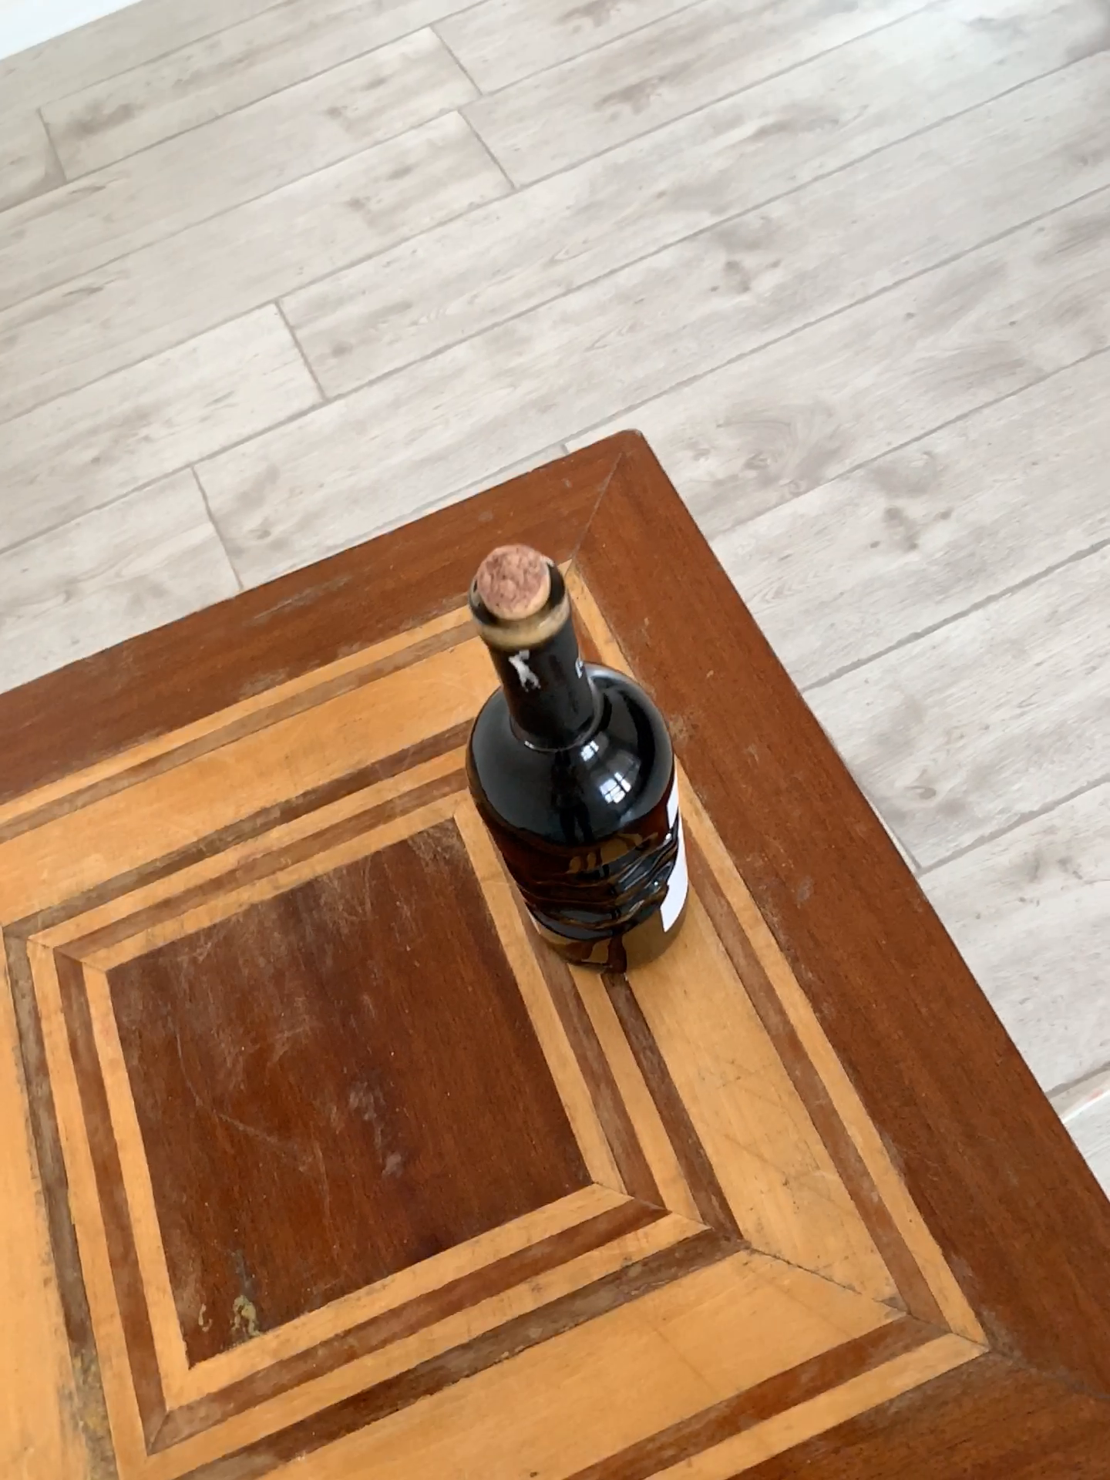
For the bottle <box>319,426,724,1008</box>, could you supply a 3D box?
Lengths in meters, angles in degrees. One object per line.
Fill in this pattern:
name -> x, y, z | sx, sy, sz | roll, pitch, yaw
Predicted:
bottle -> 0.004, 0.016, 0.450 | 0.090, 0.269, 0.090 | -4, 63, 8
